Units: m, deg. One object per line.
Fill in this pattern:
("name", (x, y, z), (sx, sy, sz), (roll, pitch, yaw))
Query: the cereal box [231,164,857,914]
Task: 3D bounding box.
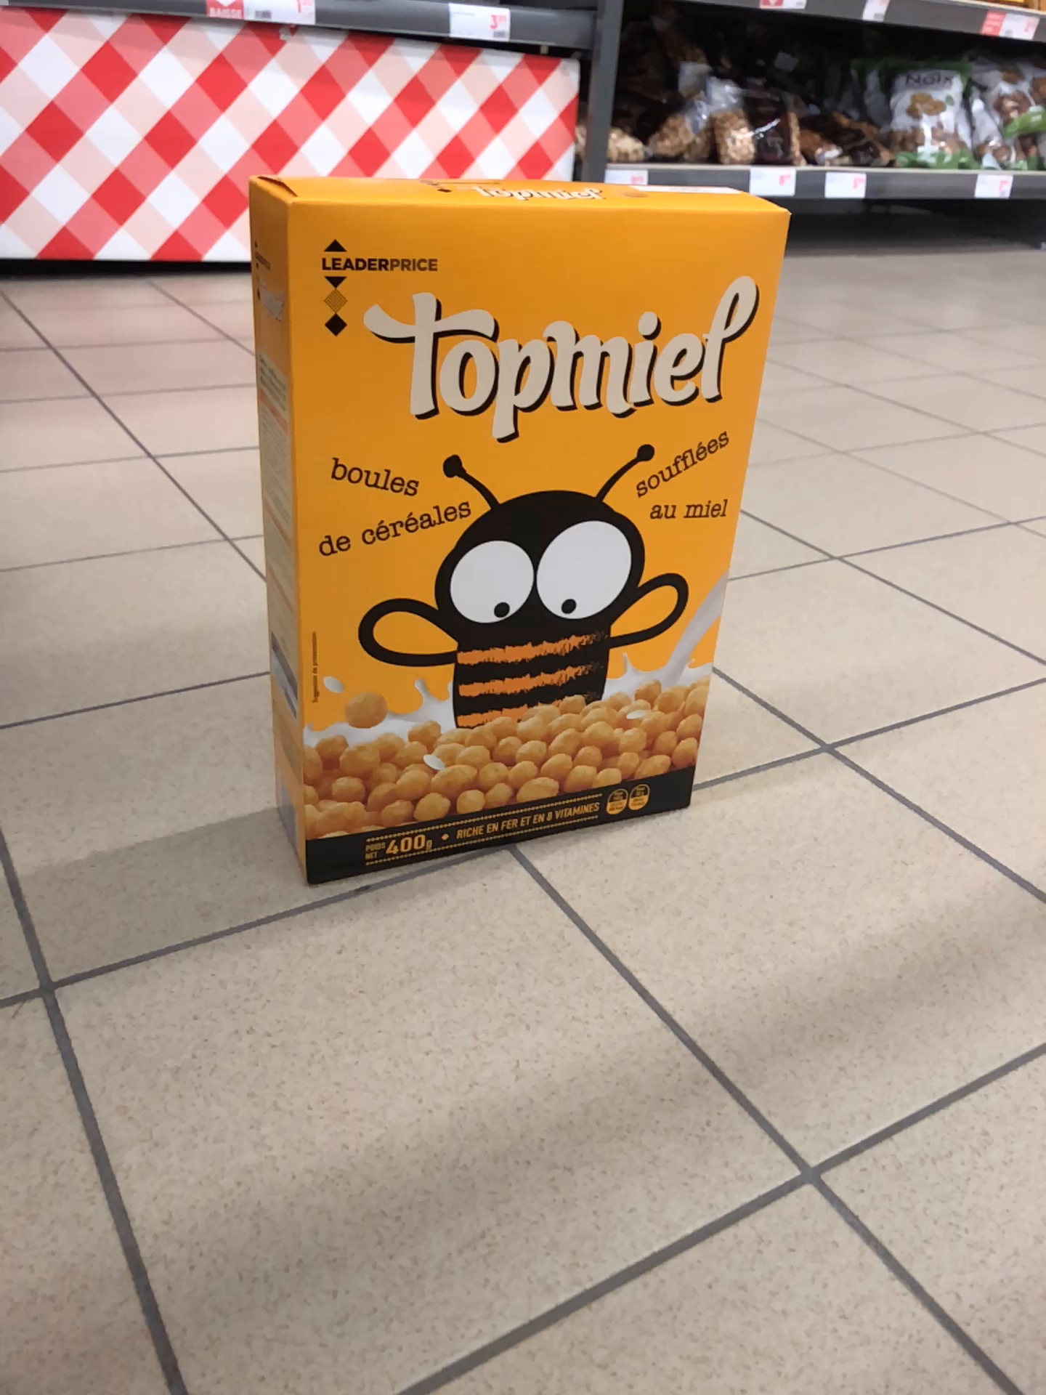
("cereal box", (0.002, -0.059, 0.461), (0.211, 0.268, 0.060), (-8, 30, -21))
